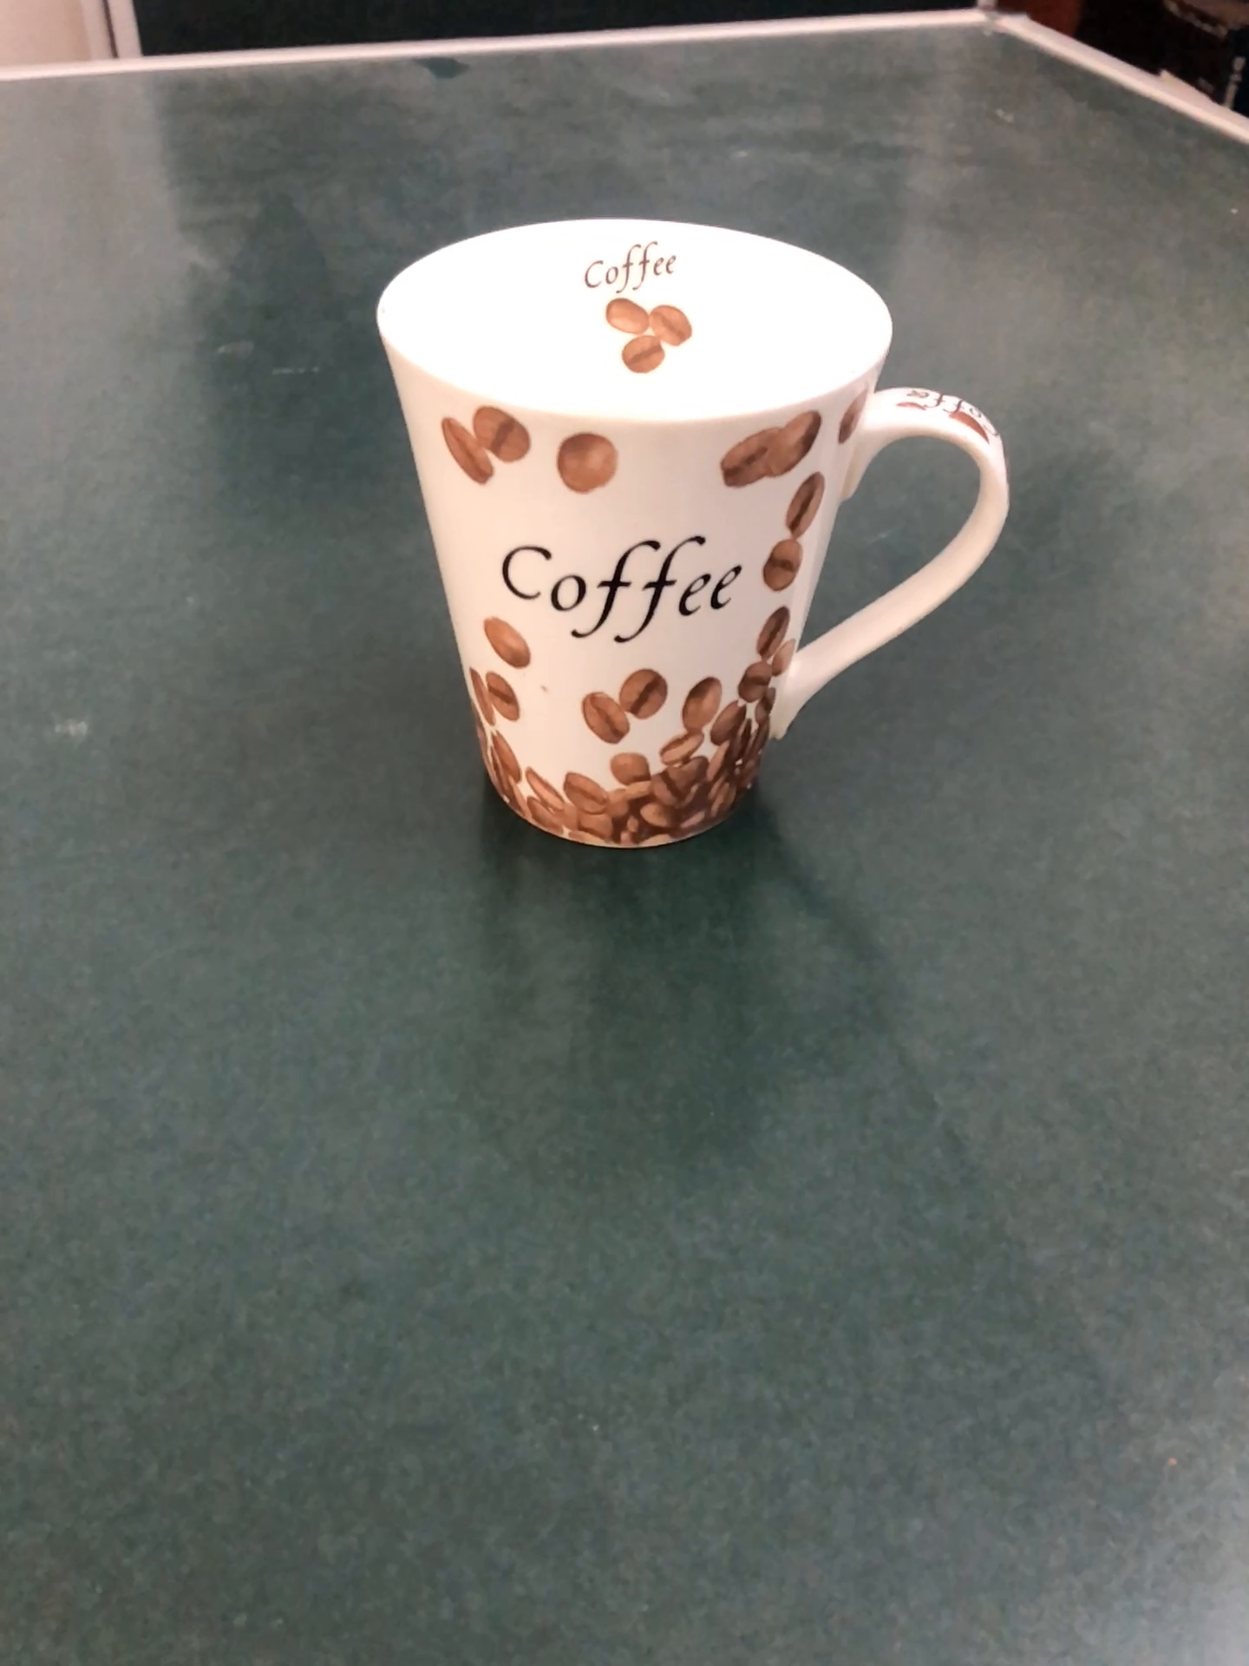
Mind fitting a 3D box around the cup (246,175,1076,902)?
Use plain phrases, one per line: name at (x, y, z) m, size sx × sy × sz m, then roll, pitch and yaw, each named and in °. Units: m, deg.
cup at (0.010, -0.060, 0.267) m, size 0.120 × 0.090 × 0.100 m, roll 6°, pitch 42°, yaw 5°
